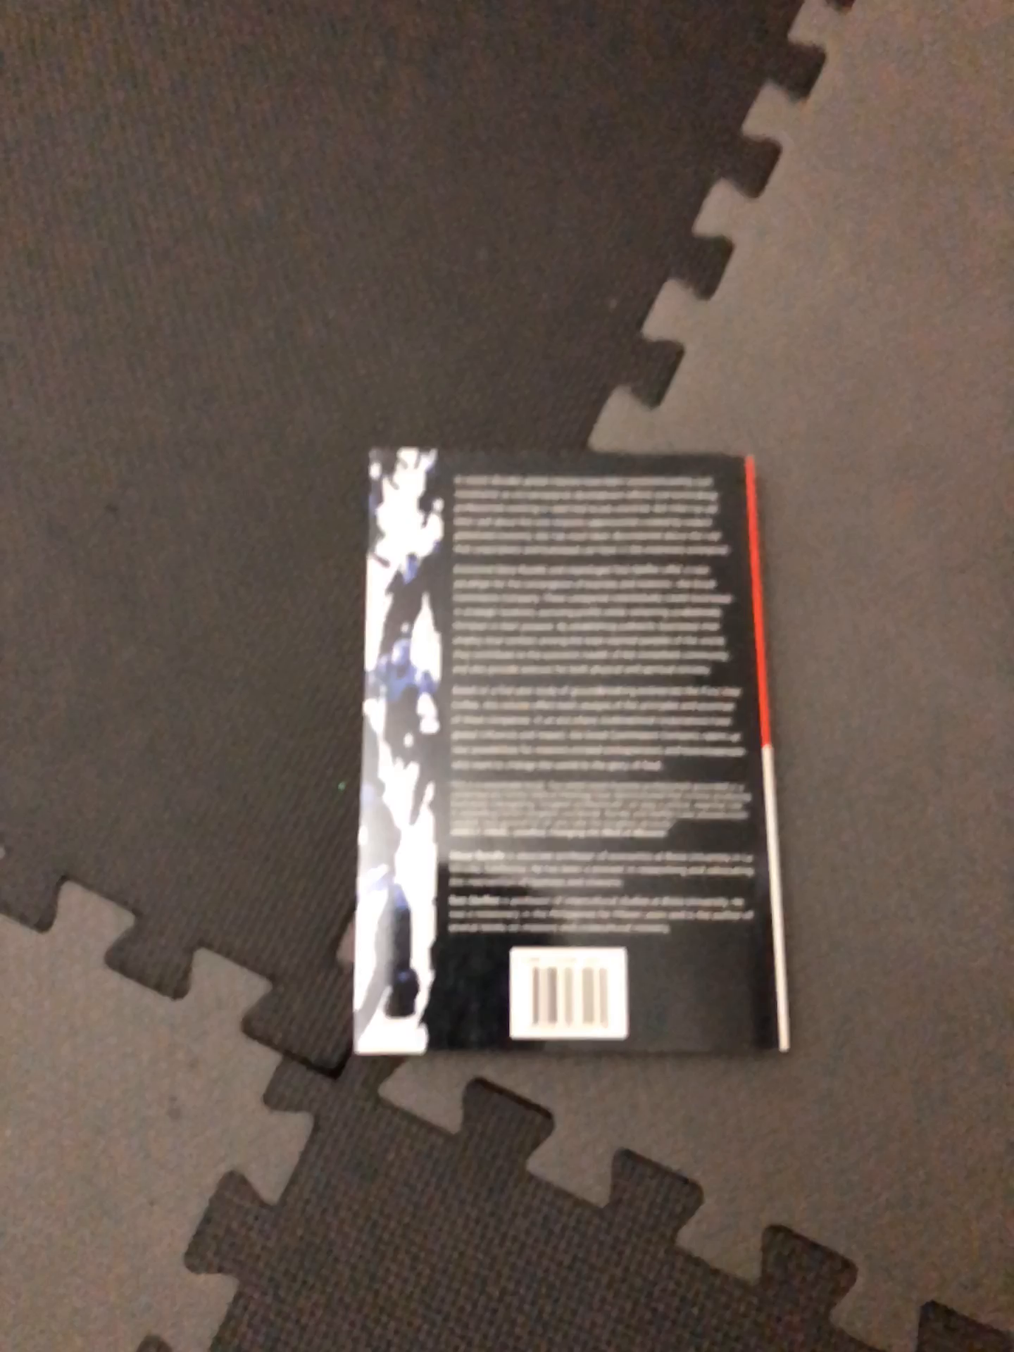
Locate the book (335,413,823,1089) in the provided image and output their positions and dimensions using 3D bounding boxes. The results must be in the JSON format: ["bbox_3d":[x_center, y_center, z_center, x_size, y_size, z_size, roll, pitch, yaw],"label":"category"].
[{"bbox_3d":[0.022,0.019,0.389,0.150,0.020,0.230,0,74,0],"label":"book"}]

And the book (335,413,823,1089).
[{"bbox_3d":[0.022,0.019,0.389,0.150,0.020,0.230,0,74,0],"label":"book"}]
